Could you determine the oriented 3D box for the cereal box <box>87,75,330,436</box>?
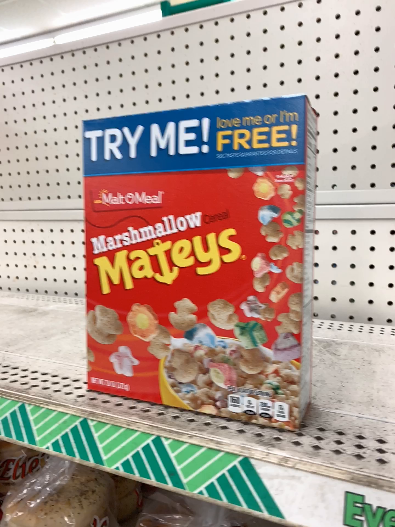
[{"bbox_3d":[0.005,-0.006,0.321,0.180,0.230,0.050,2,6,26],"label":"cereal box"}]
